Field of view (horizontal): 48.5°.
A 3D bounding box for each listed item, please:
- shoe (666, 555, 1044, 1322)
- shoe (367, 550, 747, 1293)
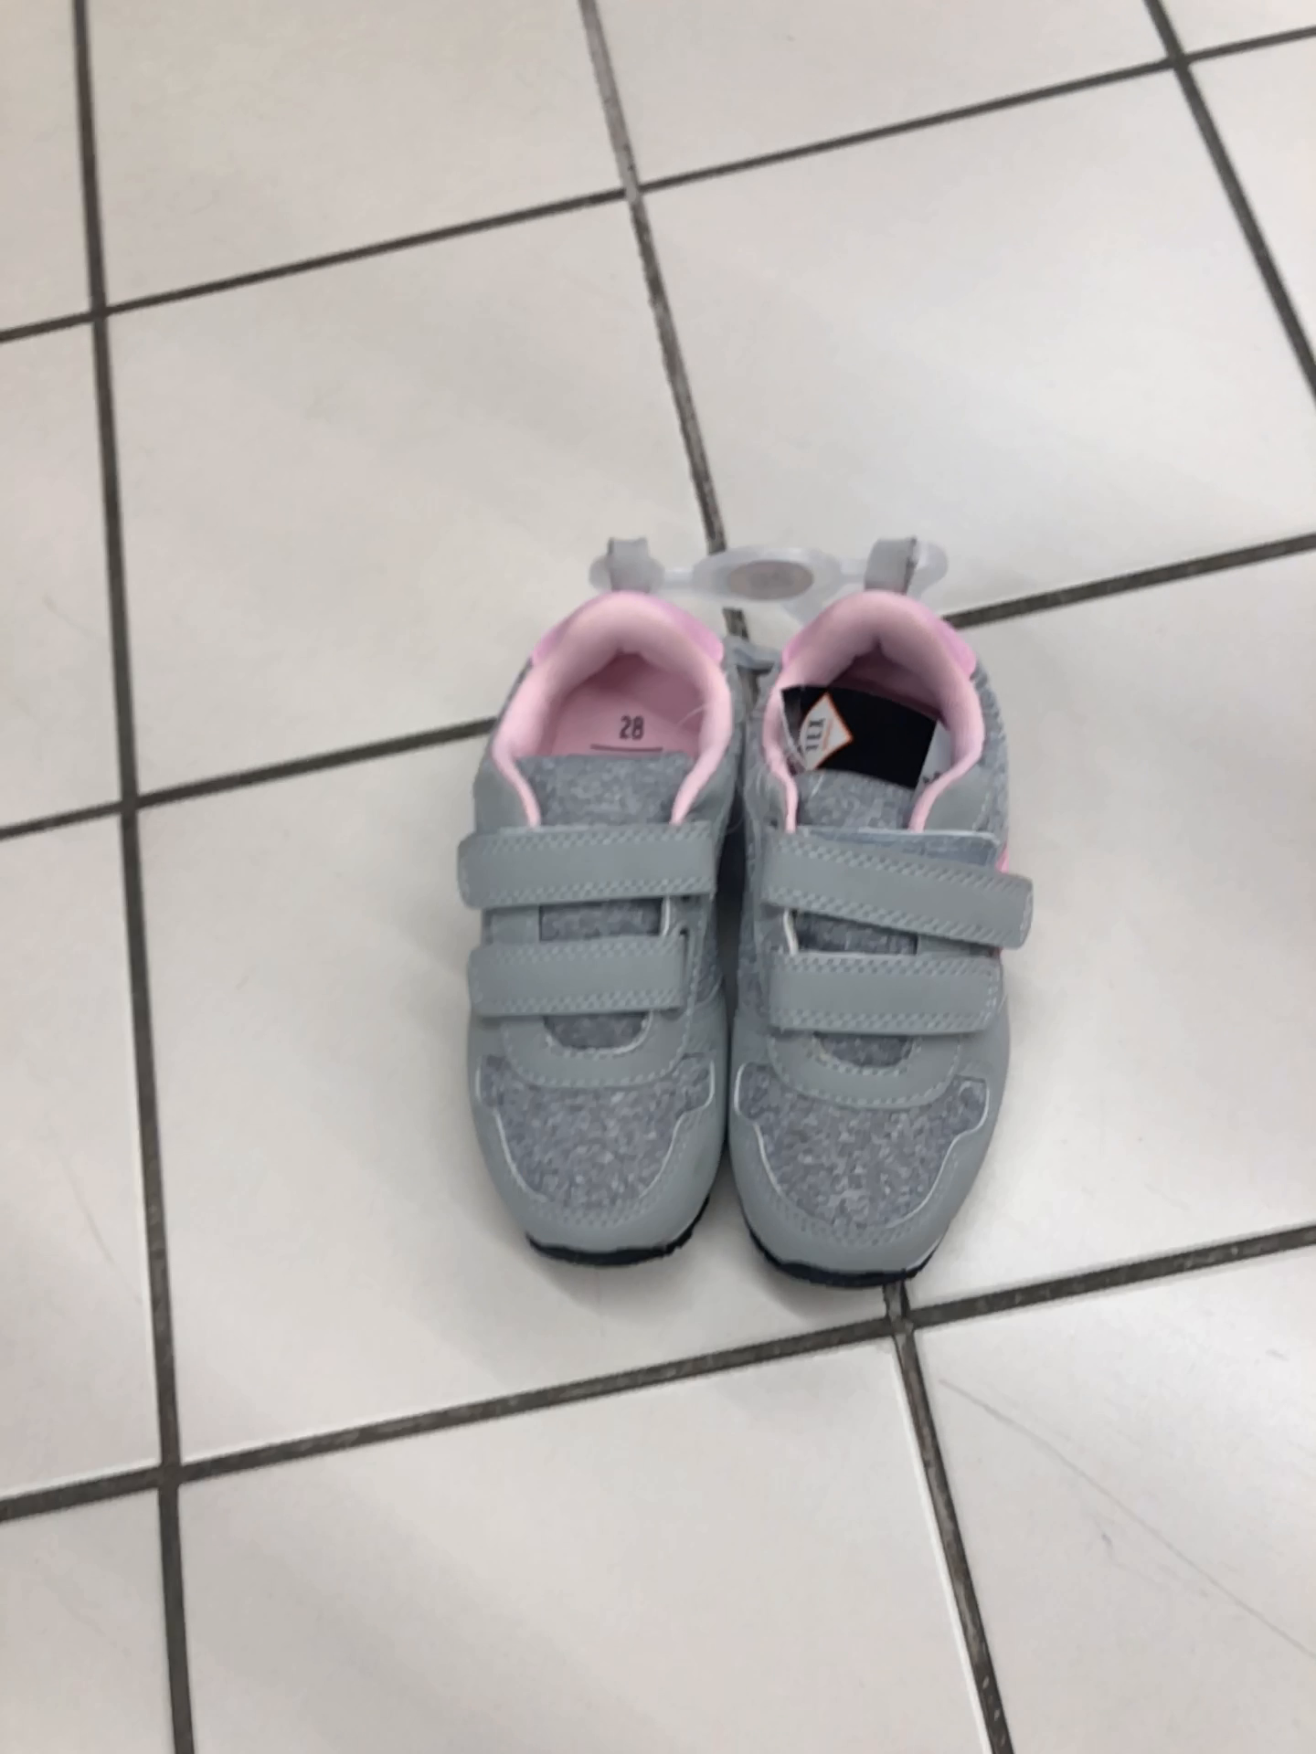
[{"bbox_3d":[0.053,0.016,0.380,0.080,0.080,0.180,2,70,7],"label":"shoe"},{"bbox_3d":[-0.019,0.012,0.383,0.080,0.070,0.180,-1,69,6],"label":"shoe"}]
